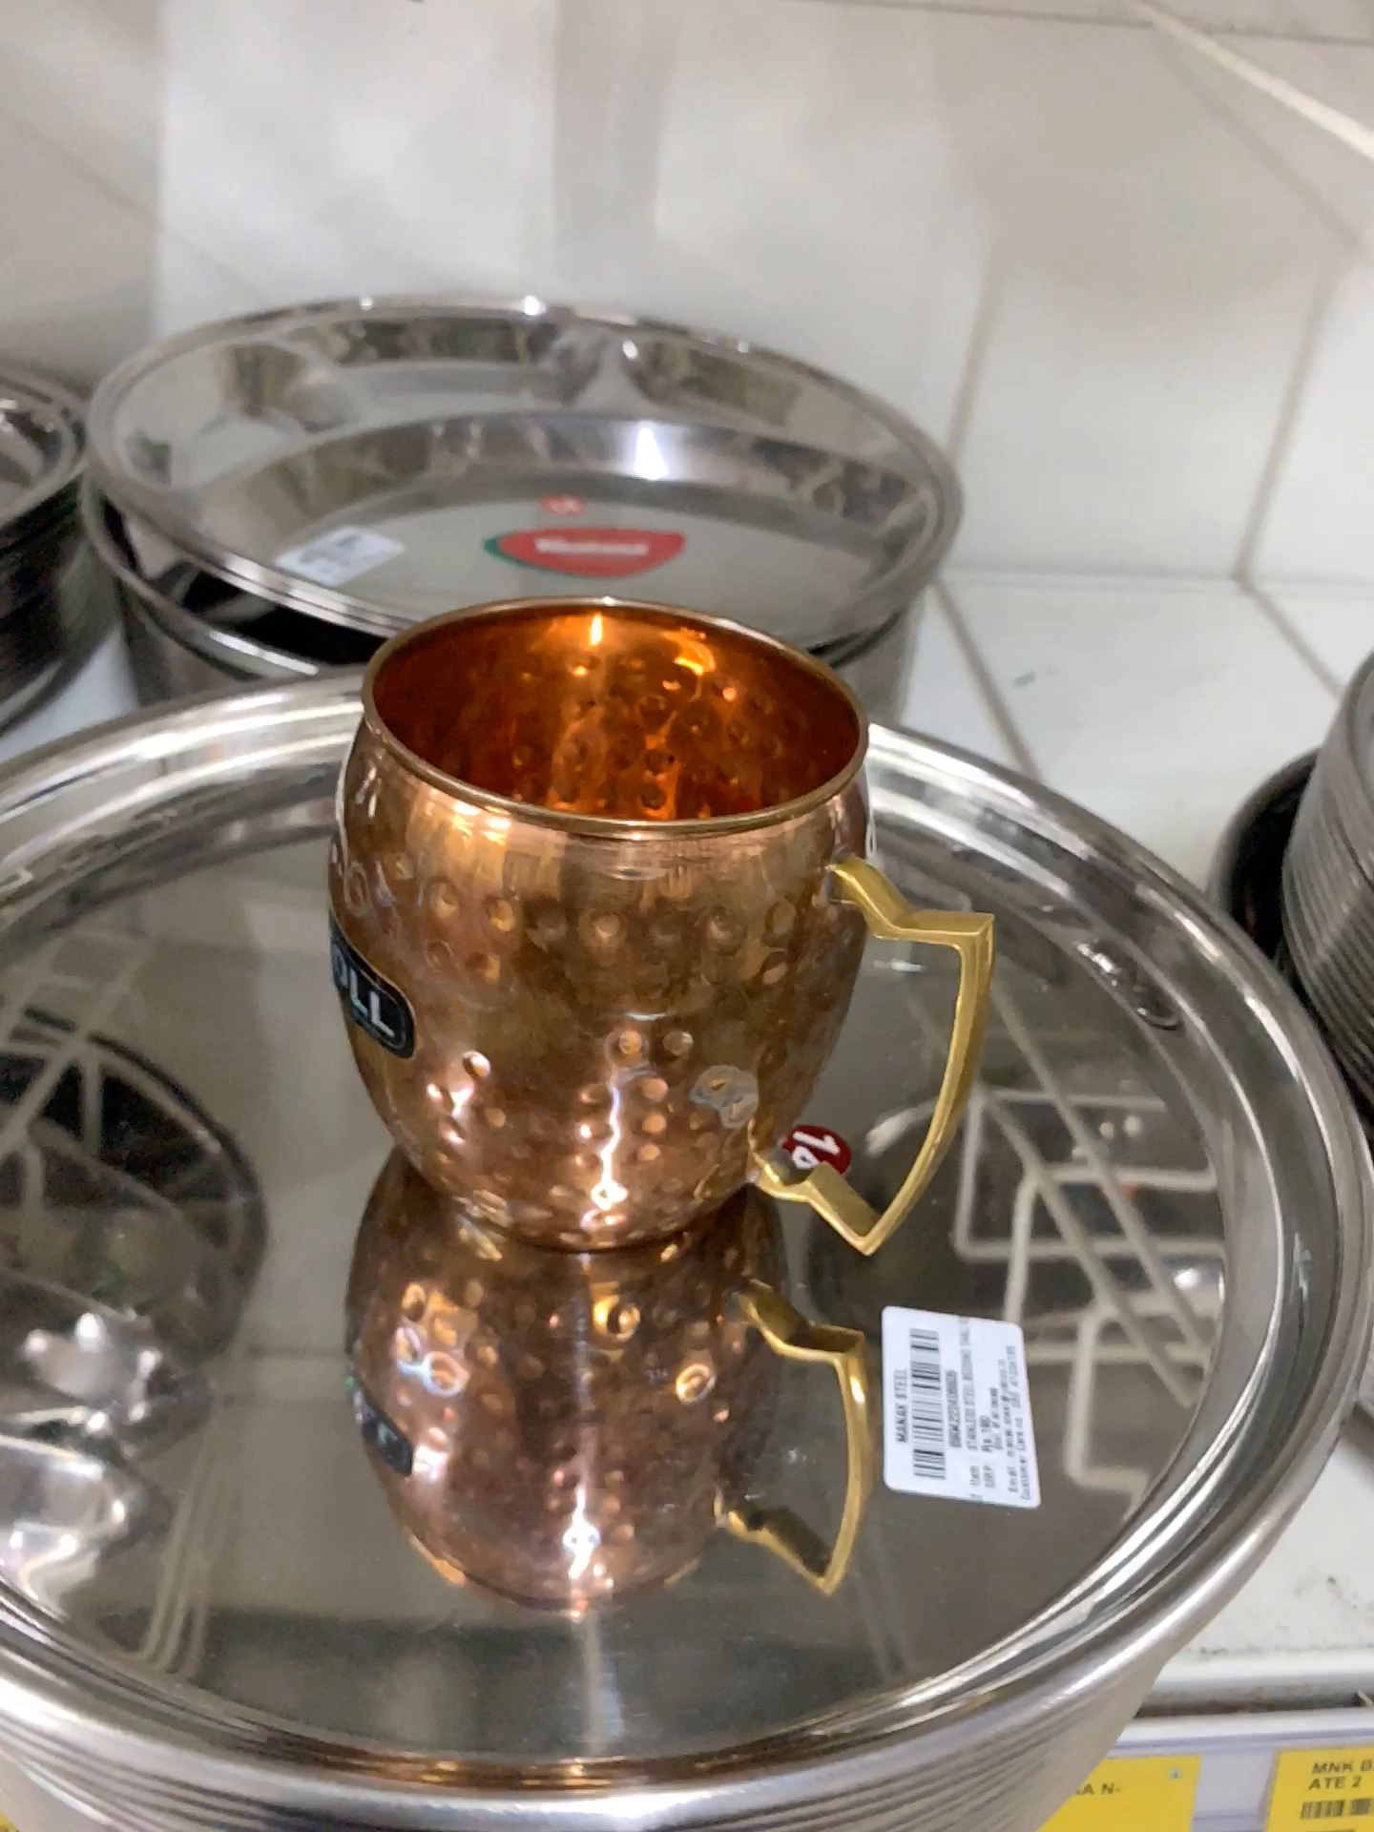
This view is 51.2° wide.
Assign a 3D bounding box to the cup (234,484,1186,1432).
[{"bbox_3d":[0.002,-0.002,0.241,0.110,0.090,0.090,27,43,27],"label":"cup"}]
